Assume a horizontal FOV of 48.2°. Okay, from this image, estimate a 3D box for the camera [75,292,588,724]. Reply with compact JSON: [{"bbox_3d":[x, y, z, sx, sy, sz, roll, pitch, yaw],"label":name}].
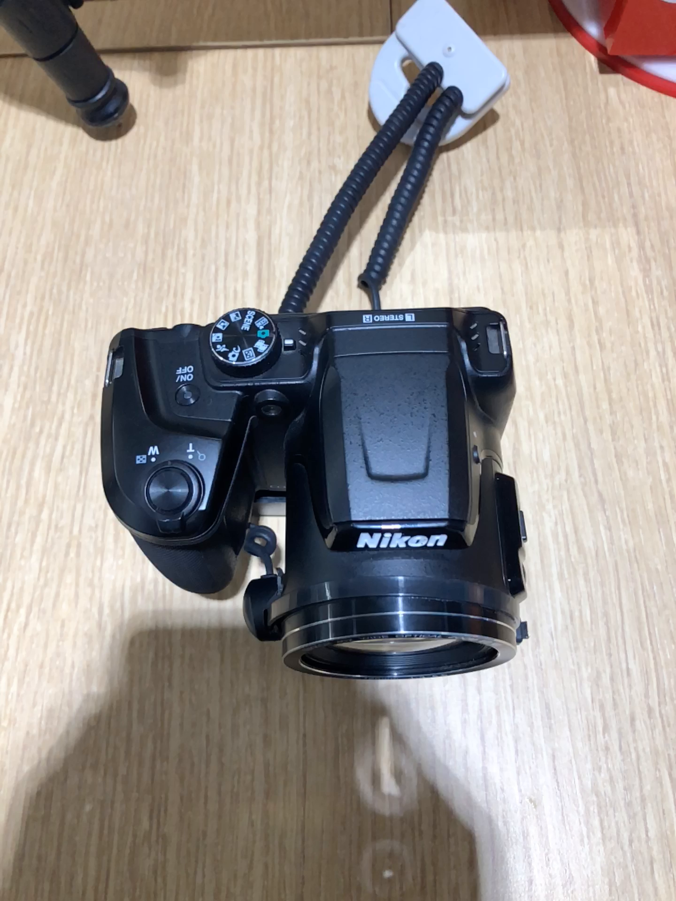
[{"bbox_3d":[-0.002,0.020,0.202,0.103,0.070,0.093,-3,67,1],"label":"camera"}]
